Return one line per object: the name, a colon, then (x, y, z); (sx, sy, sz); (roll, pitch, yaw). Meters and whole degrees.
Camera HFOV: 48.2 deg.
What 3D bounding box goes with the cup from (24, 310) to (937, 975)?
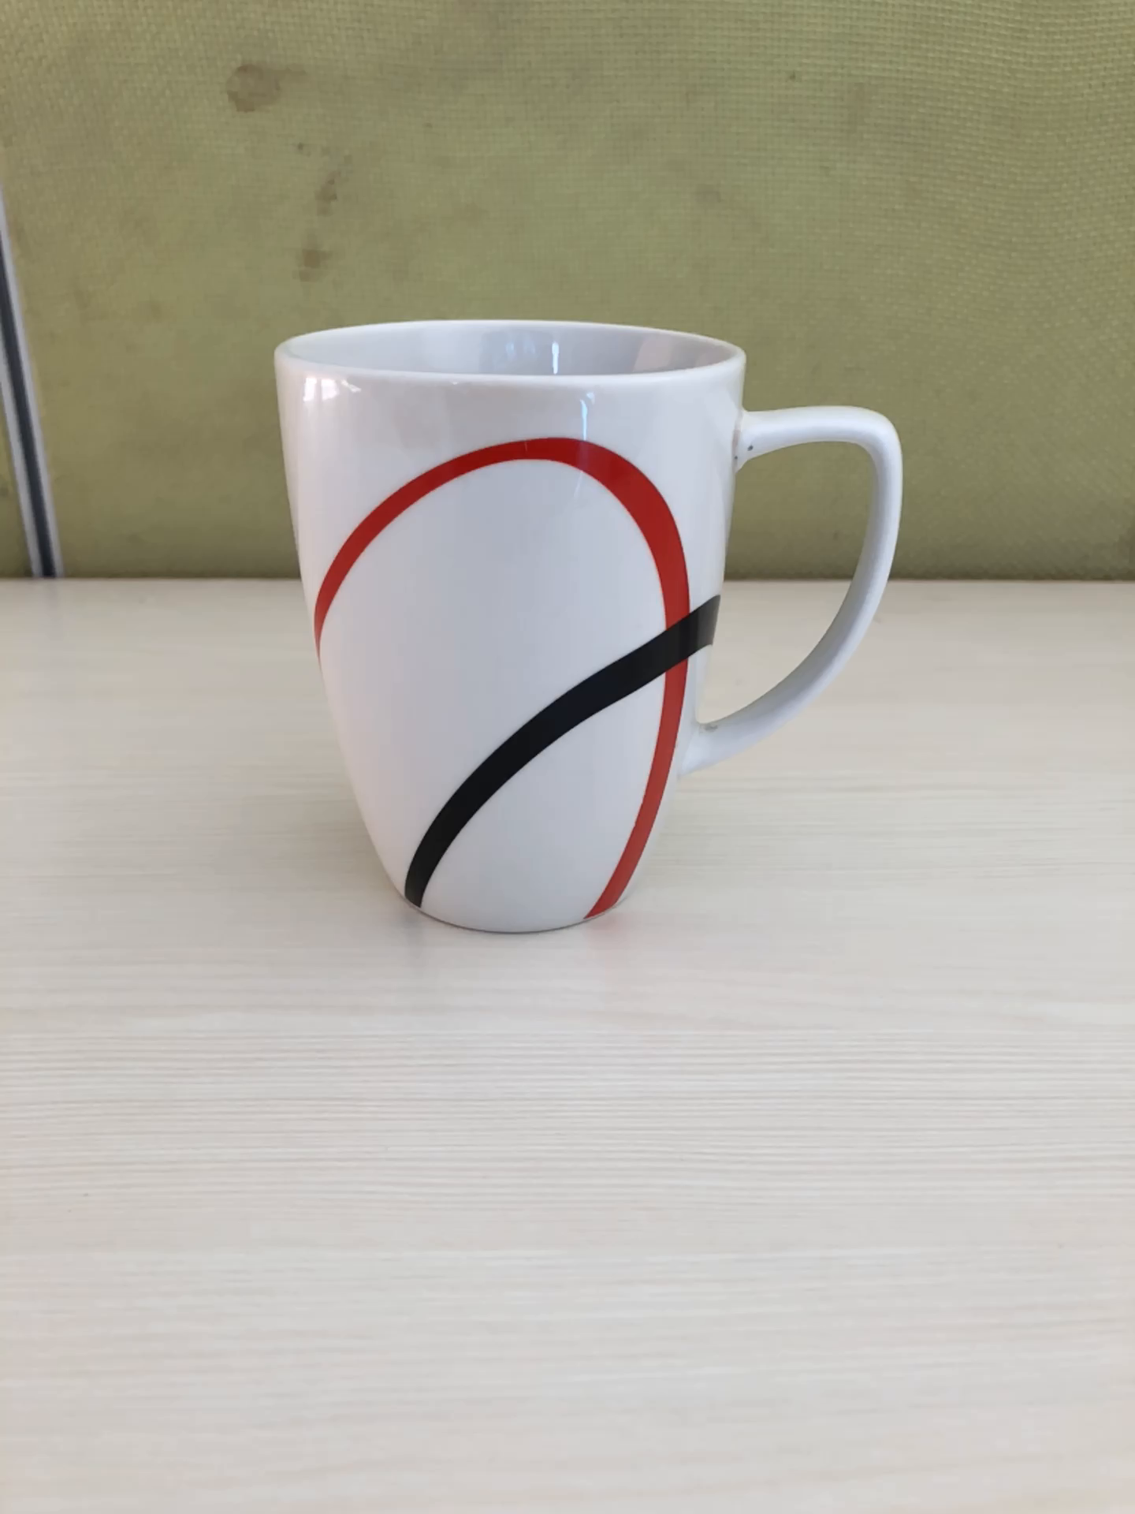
cup: (-0.009, -0.031, 0.249); (0.140, 0.099, 0.091); (4, 22, 9)
